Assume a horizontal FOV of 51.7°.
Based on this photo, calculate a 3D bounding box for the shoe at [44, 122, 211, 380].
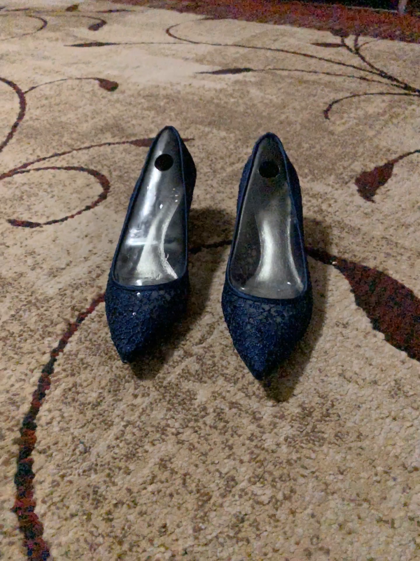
[{"bbox_3d":[-0.055,-0.054,0.426,0.088,0.088,0.295,2,41,4],"label":"shoe"}]

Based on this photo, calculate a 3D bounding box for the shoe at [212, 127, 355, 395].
[{"bbox_3d":[0.057,-0.043,0.405,0.088,0.088,0.286,2,41,4],"label":"shoe"}]
